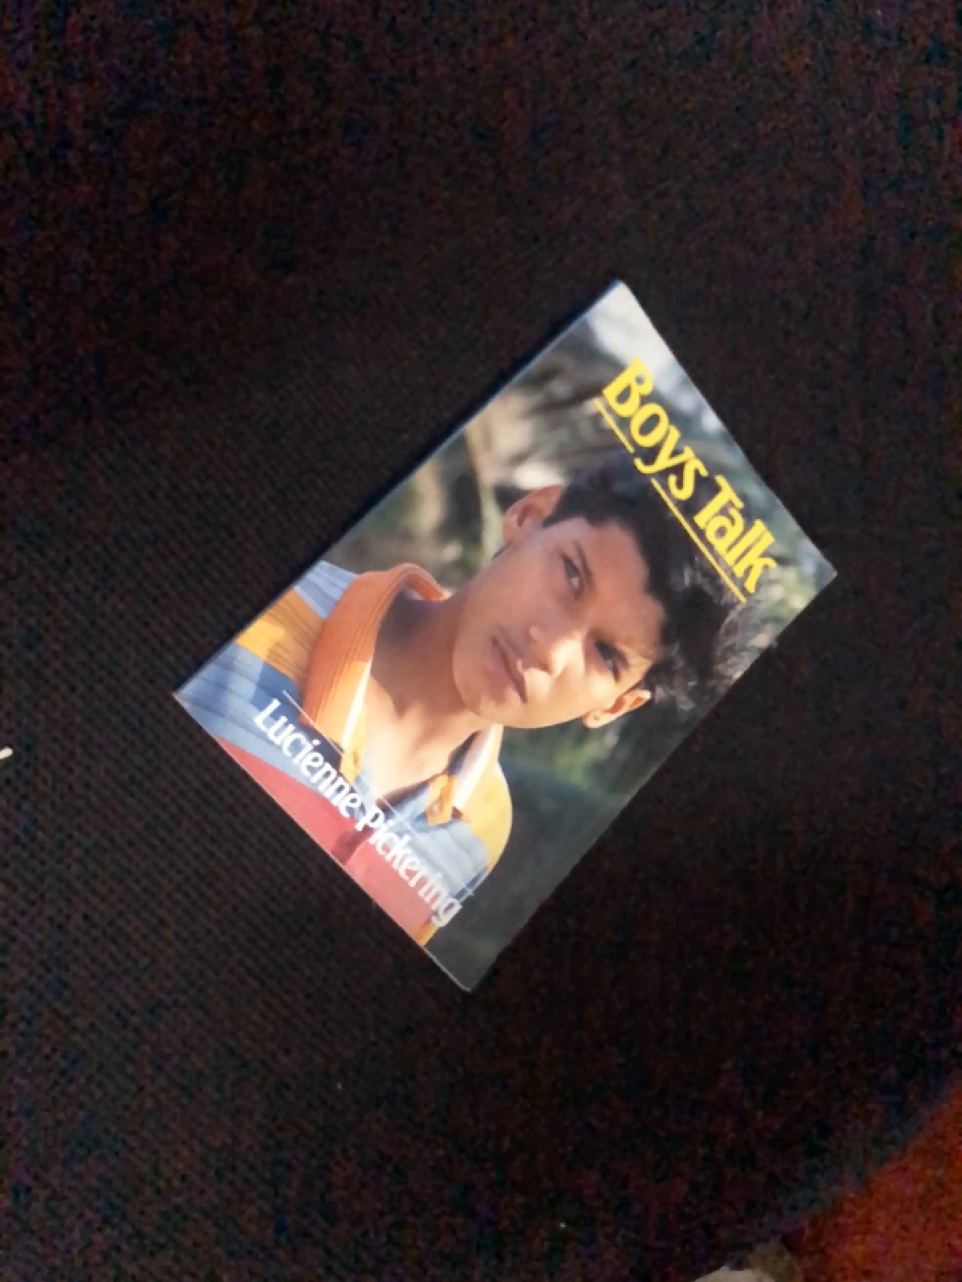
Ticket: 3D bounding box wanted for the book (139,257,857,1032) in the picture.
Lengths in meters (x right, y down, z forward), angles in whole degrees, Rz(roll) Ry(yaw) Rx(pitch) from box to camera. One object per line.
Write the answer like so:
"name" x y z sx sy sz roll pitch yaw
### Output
"book" 0.019 -0.002 0.316 0.190 0.010 0.130 -46 109 -16
